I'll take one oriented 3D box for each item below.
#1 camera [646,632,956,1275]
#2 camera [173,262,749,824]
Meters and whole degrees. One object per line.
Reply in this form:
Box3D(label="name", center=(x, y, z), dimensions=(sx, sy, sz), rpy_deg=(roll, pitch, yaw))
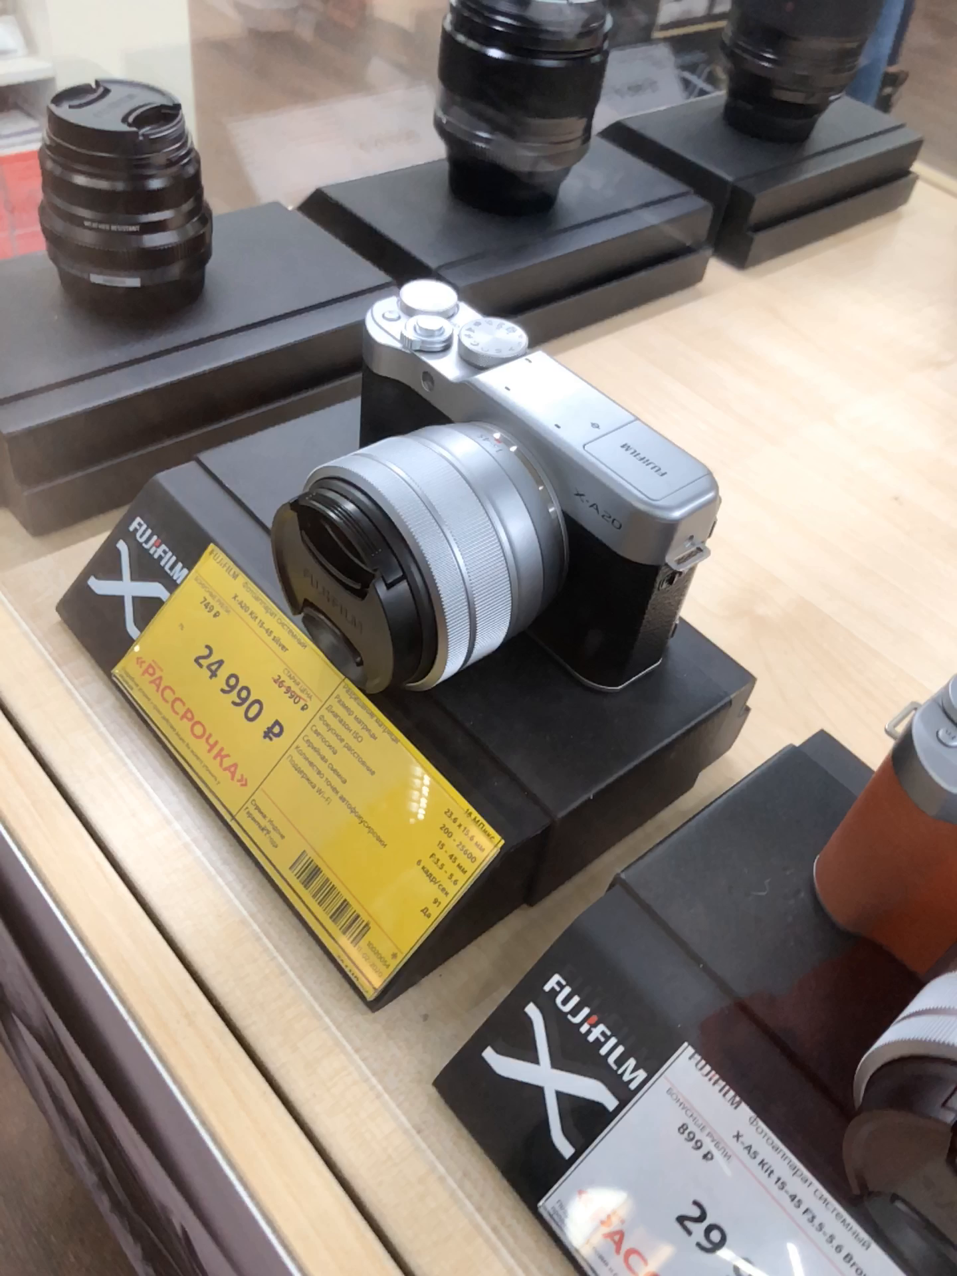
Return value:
Box3D(label="camera", center=(0.117, 0.080, 0.209), dimensions=(0.088, 0.073, 0.128), rpy_deg=(-27, 56, -32))
Box3D(label="camera", center=(-0.011, -0.033, 0.290), dimensions=(0.088, 0.073, 0.120), rpy_deg=(-27, 56, -32))
